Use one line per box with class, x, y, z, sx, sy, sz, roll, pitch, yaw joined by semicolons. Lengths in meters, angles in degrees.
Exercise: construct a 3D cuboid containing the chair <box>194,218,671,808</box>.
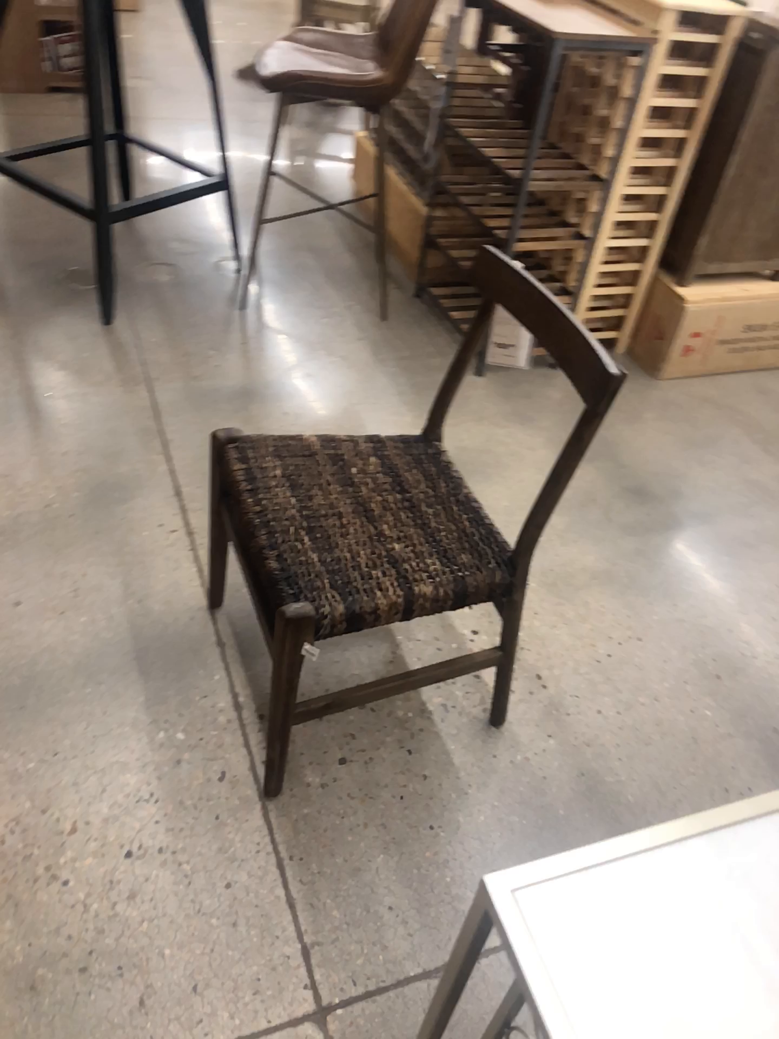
chair;-0.018;-0.017;1.503;0.533;0.816;0.550;-8;44;-20
